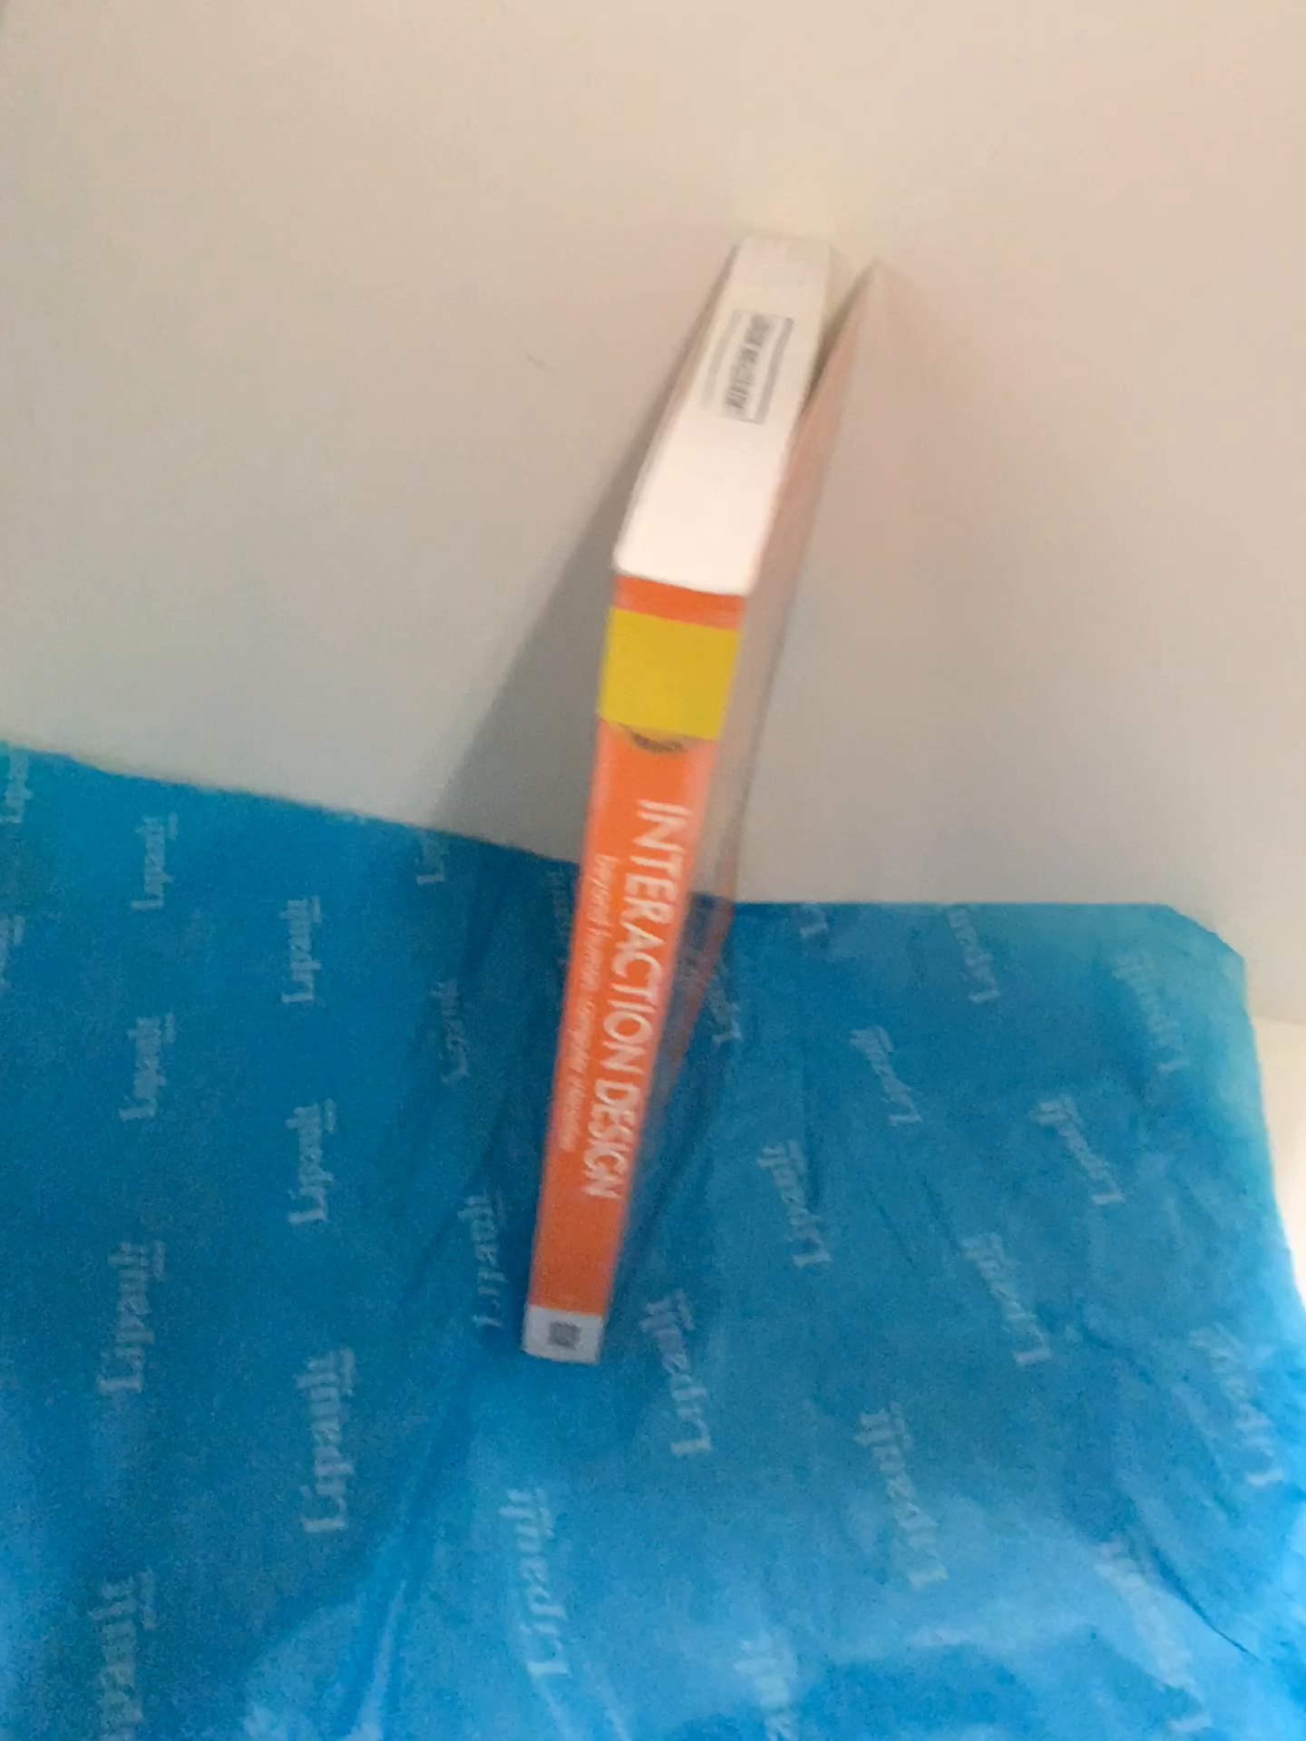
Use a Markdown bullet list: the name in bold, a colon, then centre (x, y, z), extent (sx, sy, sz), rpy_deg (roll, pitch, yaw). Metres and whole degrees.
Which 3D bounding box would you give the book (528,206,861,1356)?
- **book**: centre (0.011, -0.022, 0.370), extent (0.030, 0.247, 0.196), rpy_deg (11, 41, 2)
